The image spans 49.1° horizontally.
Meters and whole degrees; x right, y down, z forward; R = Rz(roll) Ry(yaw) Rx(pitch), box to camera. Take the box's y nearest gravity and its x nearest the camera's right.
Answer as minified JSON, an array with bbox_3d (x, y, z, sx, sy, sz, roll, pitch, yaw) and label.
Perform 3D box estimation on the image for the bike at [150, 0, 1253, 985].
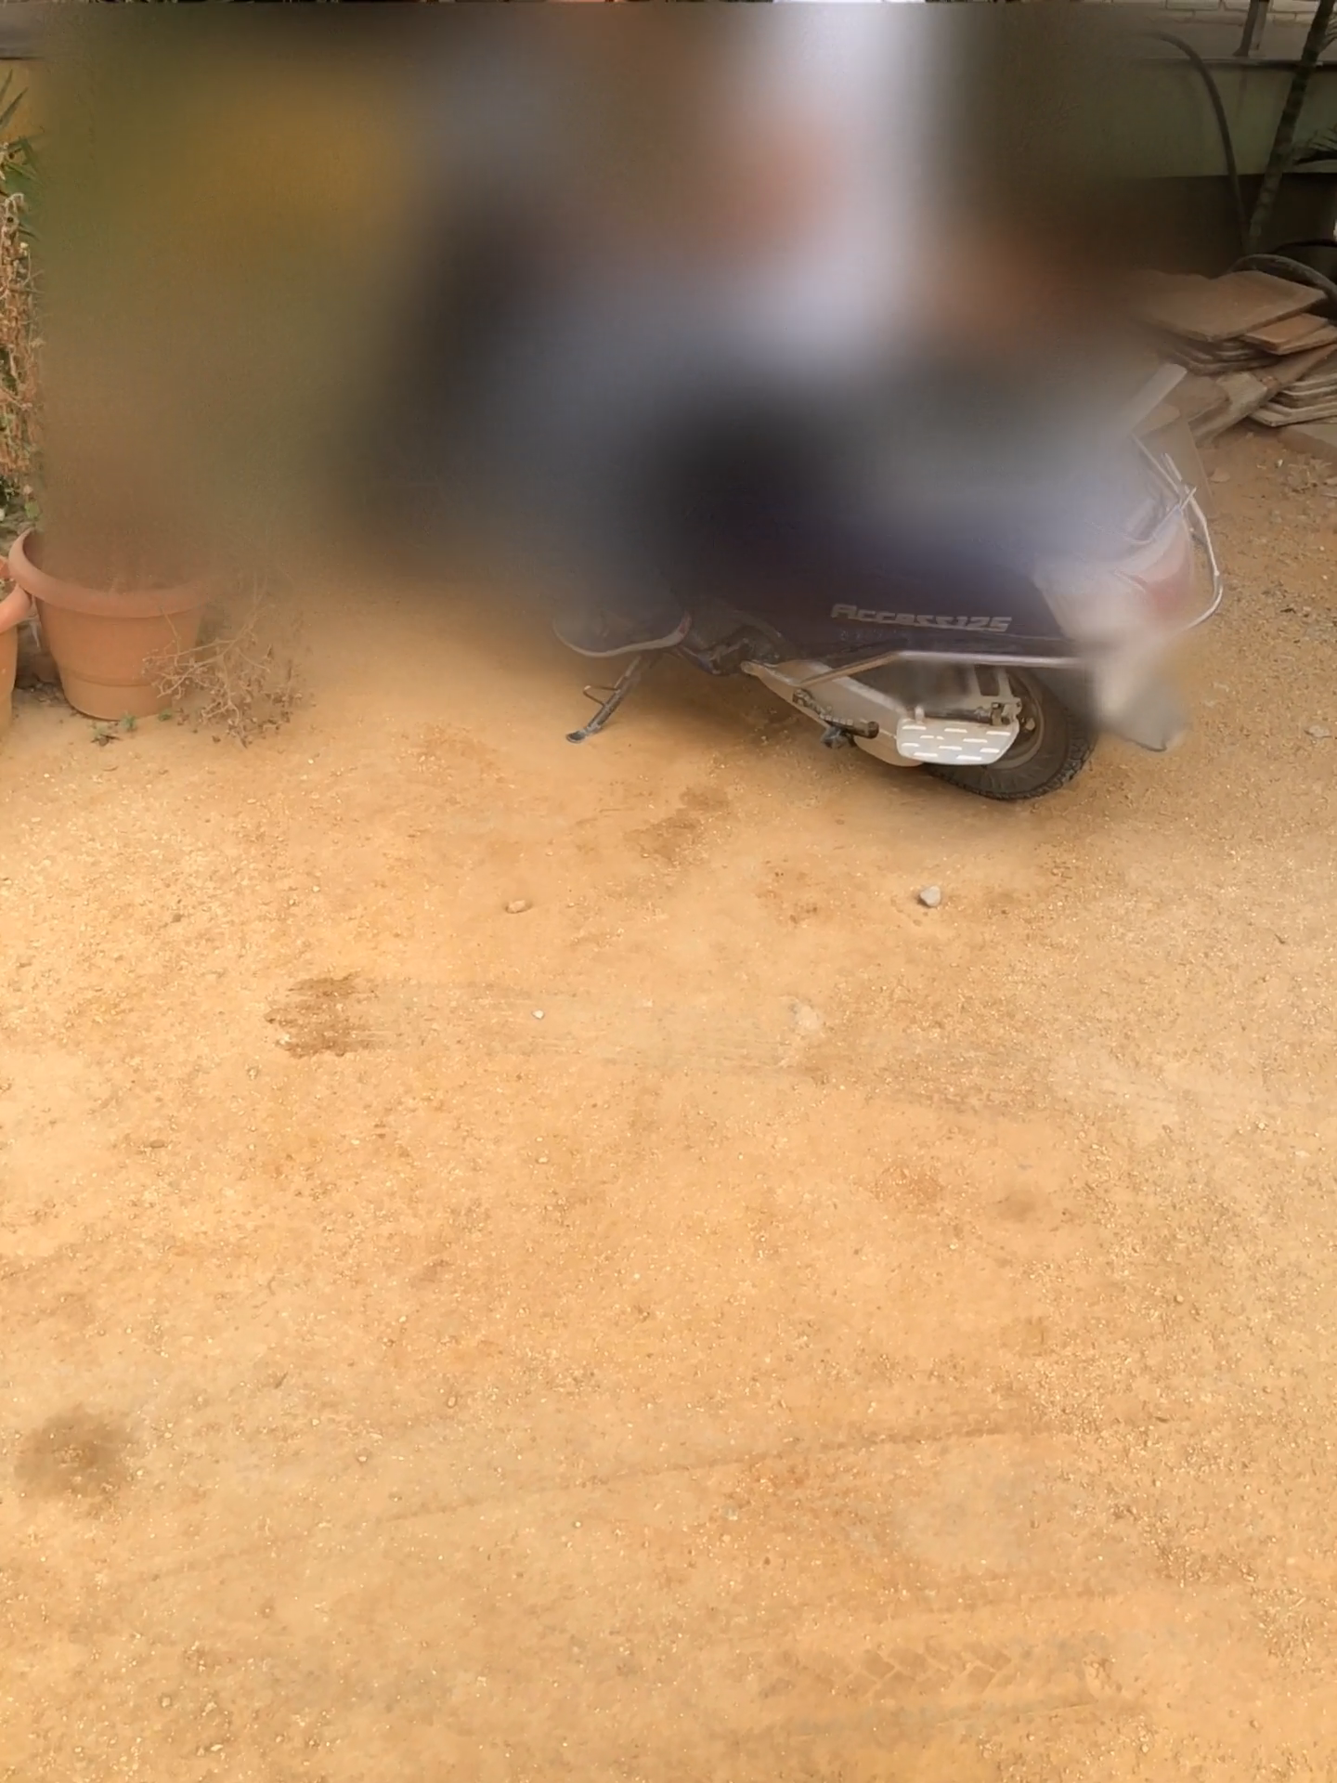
[{"bbox_3d":[-0.014,-0.802,2.495,1.621,1.221,0.591,22,39,25],"label":"bike"}]
